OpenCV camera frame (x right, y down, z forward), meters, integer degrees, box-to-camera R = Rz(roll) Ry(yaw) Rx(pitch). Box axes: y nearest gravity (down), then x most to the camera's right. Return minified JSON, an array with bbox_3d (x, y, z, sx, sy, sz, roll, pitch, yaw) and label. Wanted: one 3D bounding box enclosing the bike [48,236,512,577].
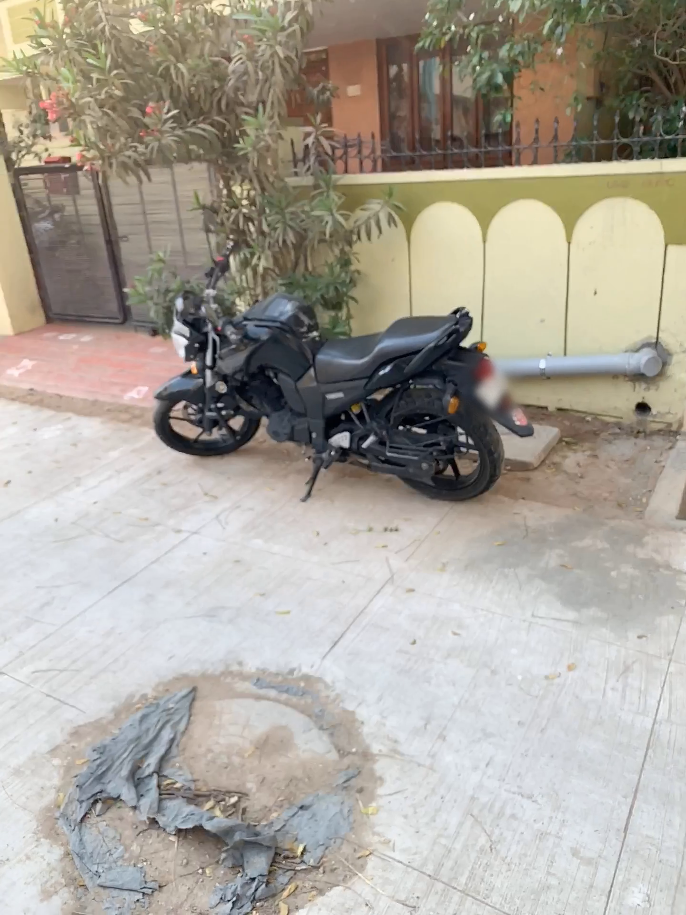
[{"bbox_3d":[-0.255,-0.231,3.024,1.685,1.076,0.748,4,24,30],"label":"bike"}]
